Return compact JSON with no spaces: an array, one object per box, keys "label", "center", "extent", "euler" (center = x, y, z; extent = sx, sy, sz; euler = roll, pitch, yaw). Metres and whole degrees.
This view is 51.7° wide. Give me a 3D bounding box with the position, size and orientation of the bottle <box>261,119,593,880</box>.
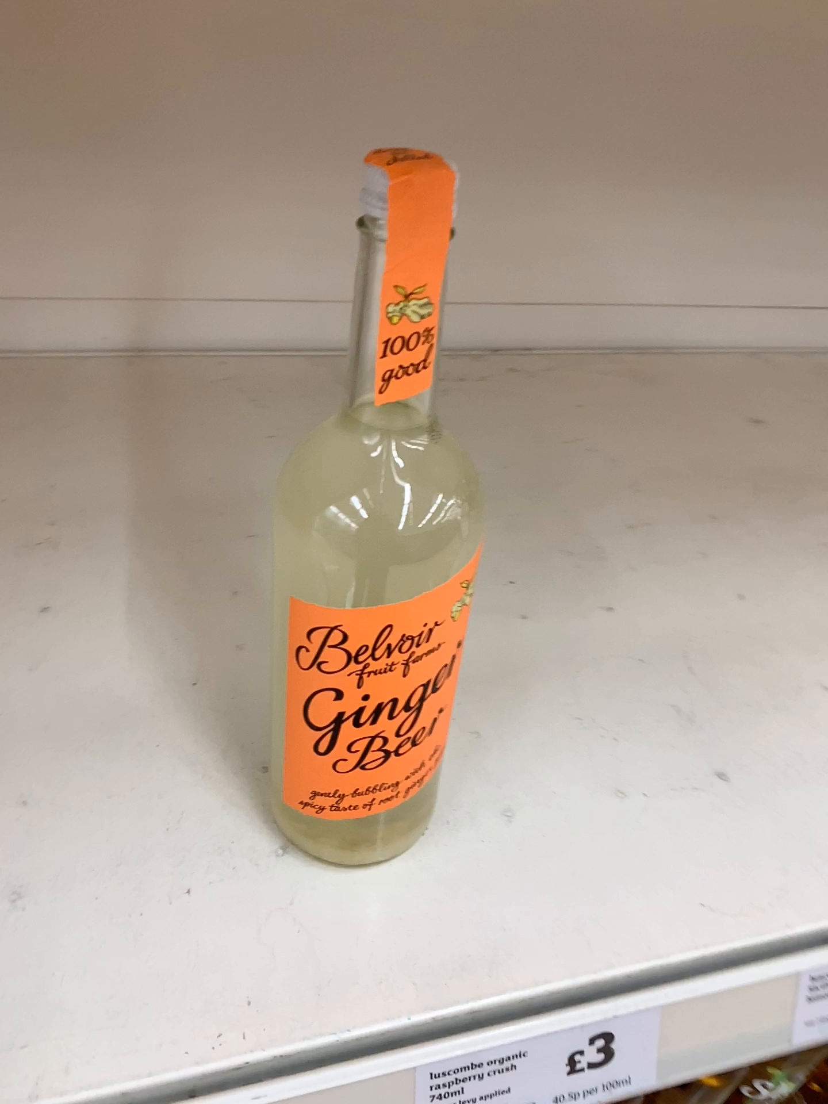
[{"label":"bottle","center":[-0.016,-0.002,0.328],"extent":[0.084,0.277,0.091],"euler":[5,34,-3]}]
